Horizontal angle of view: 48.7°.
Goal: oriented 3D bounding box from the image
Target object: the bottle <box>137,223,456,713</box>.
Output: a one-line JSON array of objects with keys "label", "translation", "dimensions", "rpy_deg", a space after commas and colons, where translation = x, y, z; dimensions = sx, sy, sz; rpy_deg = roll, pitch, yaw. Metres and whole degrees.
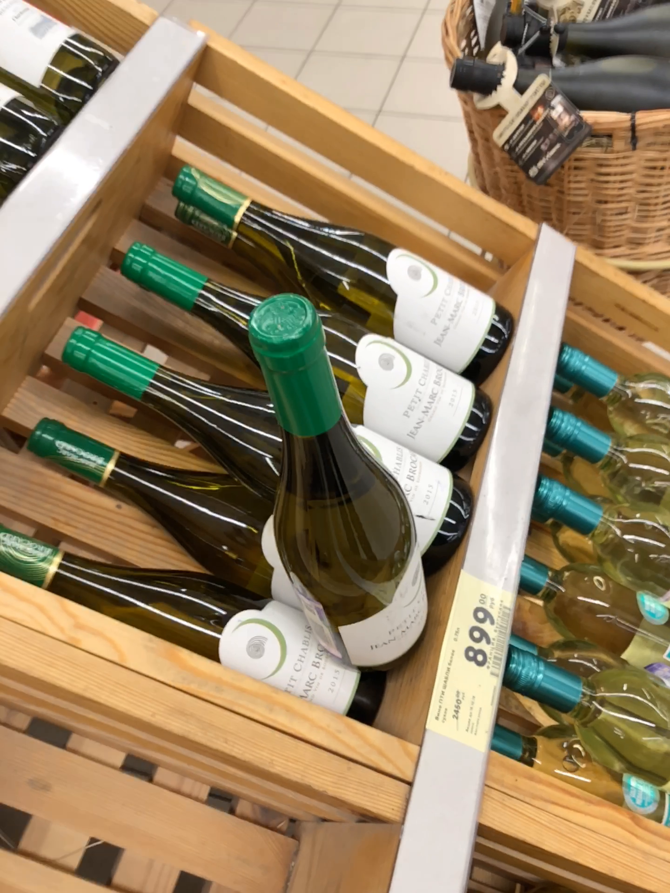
[{"label": "bottle", "translation": [0.007, 0.037, 0.385], "dimensions": [0.090, 0.289, 0.090], "rpy_deg": [-5, 53, 6]}]
